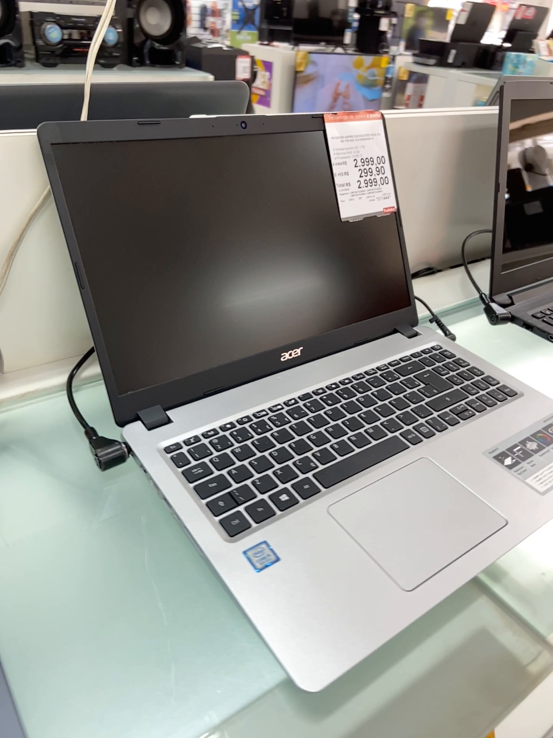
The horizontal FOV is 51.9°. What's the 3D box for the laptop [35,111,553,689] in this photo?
[{"bbox_3d":[0.065,-0.058,0.463,0.368,0.205,0.373,-18,40,-32],"label":"laptop"}]
